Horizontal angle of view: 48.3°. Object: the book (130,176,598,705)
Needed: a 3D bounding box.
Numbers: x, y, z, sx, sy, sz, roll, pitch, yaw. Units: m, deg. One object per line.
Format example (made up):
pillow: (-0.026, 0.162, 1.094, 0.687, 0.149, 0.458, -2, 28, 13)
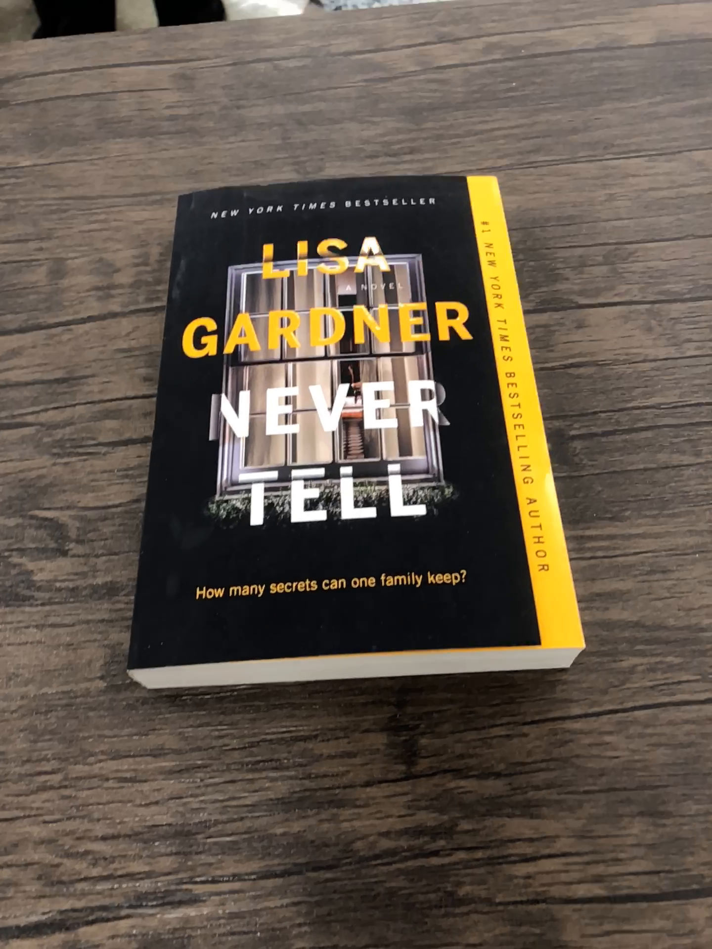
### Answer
book: (-0.001, -0.025, 0.297, 0.137, 0.032, 0.207, -3, 60, 1)
